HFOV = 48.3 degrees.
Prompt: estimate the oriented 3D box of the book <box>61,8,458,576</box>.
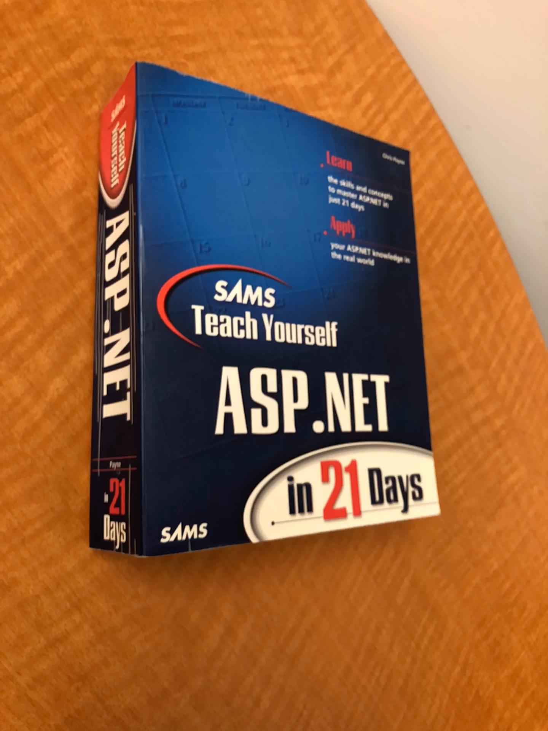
[{"bbox_3d":[0.002,-0.025,0.336,0.201,0.070,0.240,7,78,-36],"label":"book"}]
